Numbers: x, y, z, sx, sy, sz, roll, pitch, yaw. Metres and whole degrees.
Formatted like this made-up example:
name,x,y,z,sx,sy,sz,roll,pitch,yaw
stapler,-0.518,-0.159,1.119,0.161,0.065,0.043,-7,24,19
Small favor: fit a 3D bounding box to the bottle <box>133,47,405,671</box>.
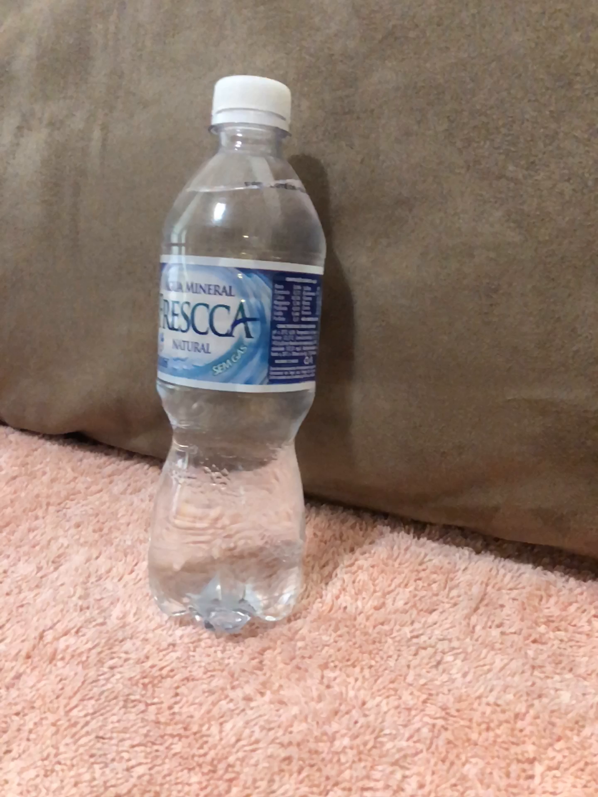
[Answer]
name,x,y,z,sx,sy,sz,roll,pitch,yaw
bottle,-0.014,-0.015,0.275,0.070,0.209,0.080,9,12,35
